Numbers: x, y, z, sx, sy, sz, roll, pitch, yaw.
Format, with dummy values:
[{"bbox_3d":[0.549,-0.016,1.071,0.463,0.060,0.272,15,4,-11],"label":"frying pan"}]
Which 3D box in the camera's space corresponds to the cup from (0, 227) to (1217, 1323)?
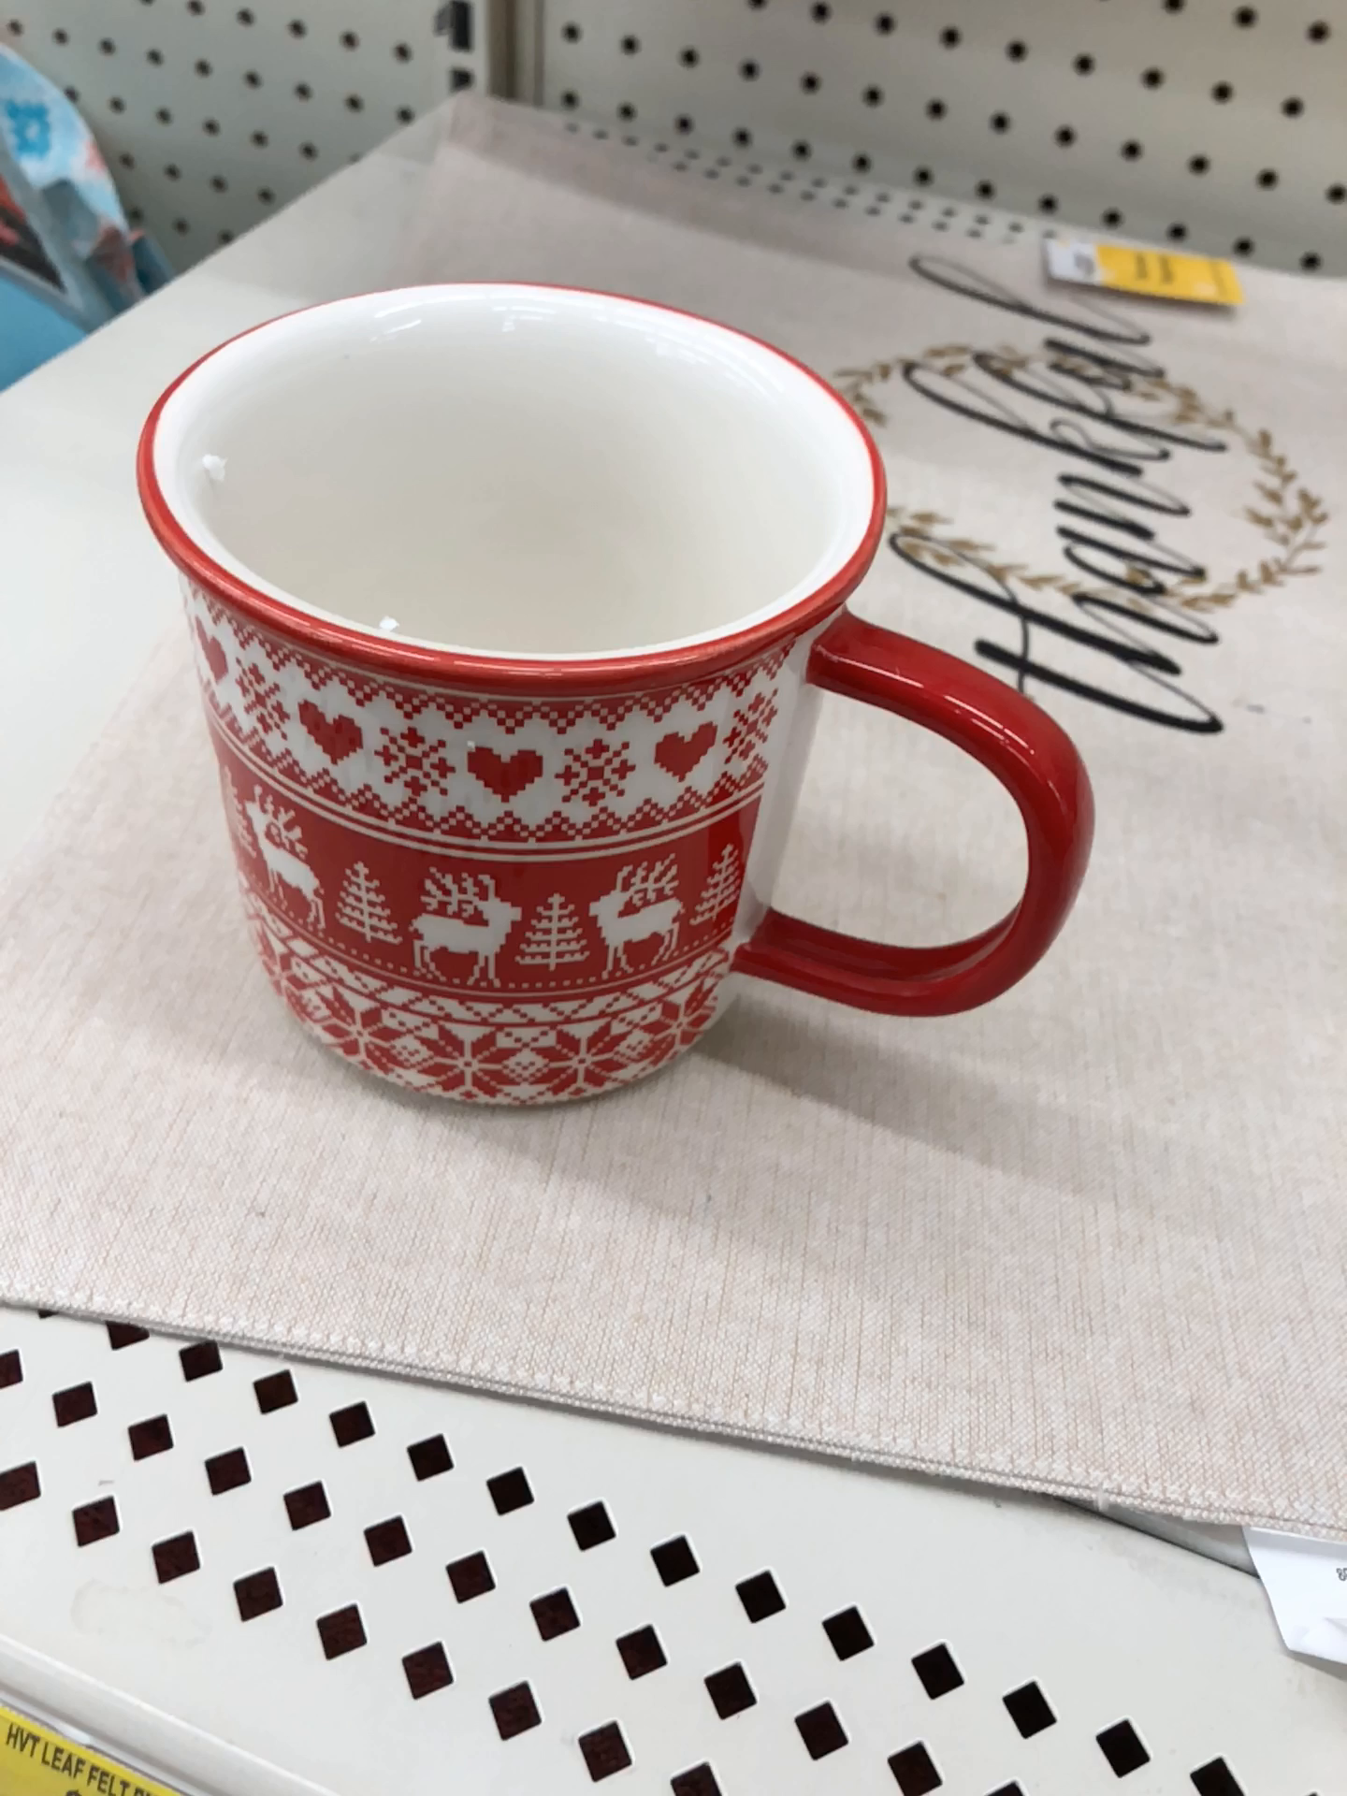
[{"bbox_3d":[-0.009,-0.025,0.247,0.150,0.100,0.100,18,47,11],"label":"cup"}]
